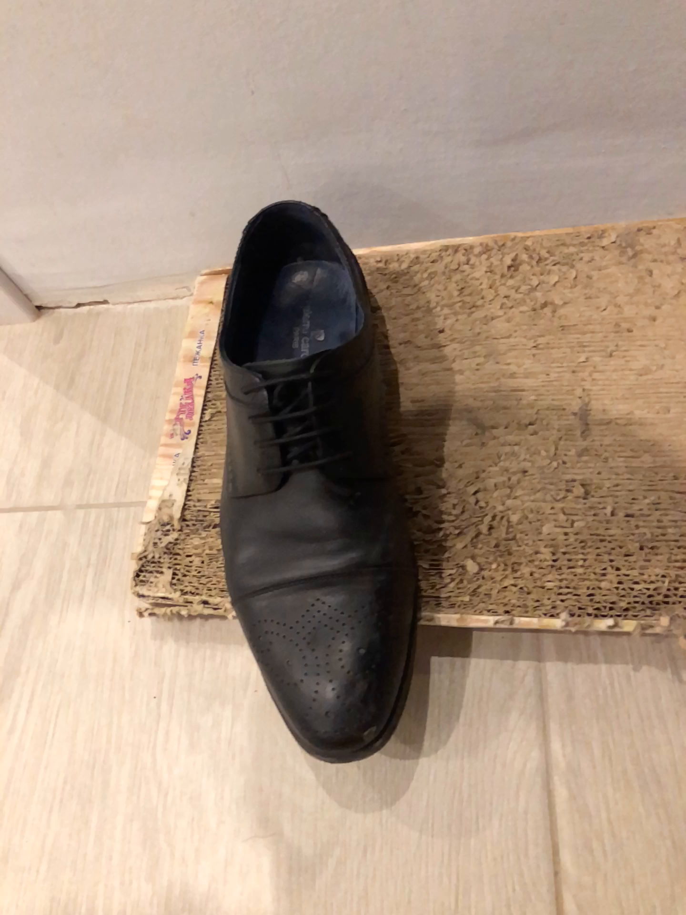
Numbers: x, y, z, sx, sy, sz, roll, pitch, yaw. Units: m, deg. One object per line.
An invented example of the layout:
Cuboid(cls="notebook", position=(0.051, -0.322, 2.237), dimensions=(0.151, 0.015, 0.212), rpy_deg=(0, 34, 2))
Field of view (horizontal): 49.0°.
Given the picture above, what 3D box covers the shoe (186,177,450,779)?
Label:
Cuboid(cls="shoe", position=(-0.015, 0.005, 0.384), dimensions=(0.090, 0.100, 0.281), rpy_deg=(-10, 62, 9))
